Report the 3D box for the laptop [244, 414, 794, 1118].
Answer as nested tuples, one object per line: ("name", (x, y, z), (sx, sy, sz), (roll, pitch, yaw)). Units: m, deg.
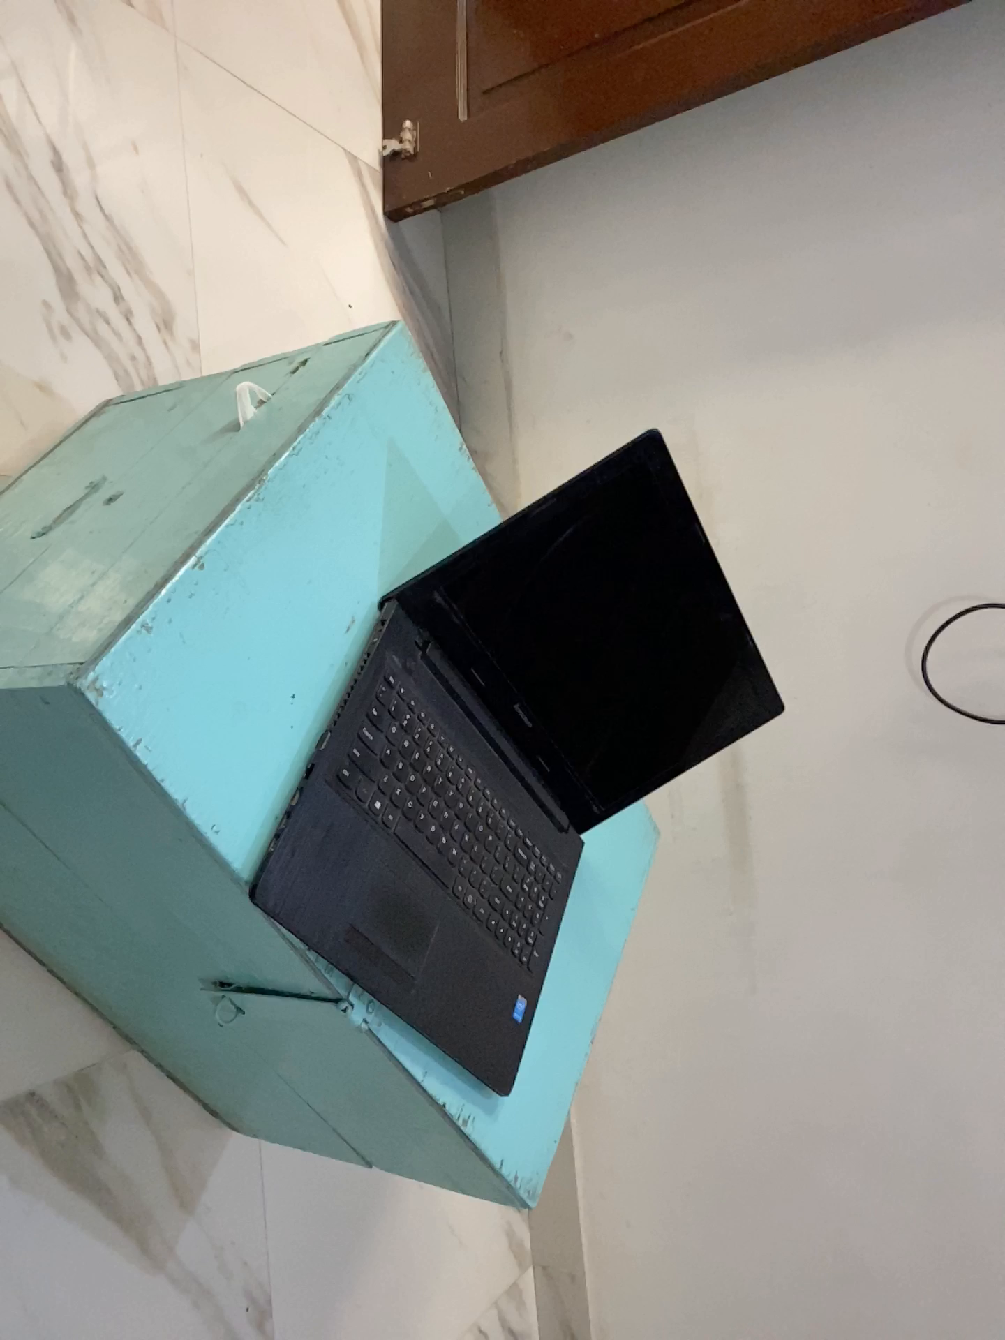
("laptop", (0.064, 0.087, 0.858), (0.372, 0.190, 0.424), (54, 45, -40))
